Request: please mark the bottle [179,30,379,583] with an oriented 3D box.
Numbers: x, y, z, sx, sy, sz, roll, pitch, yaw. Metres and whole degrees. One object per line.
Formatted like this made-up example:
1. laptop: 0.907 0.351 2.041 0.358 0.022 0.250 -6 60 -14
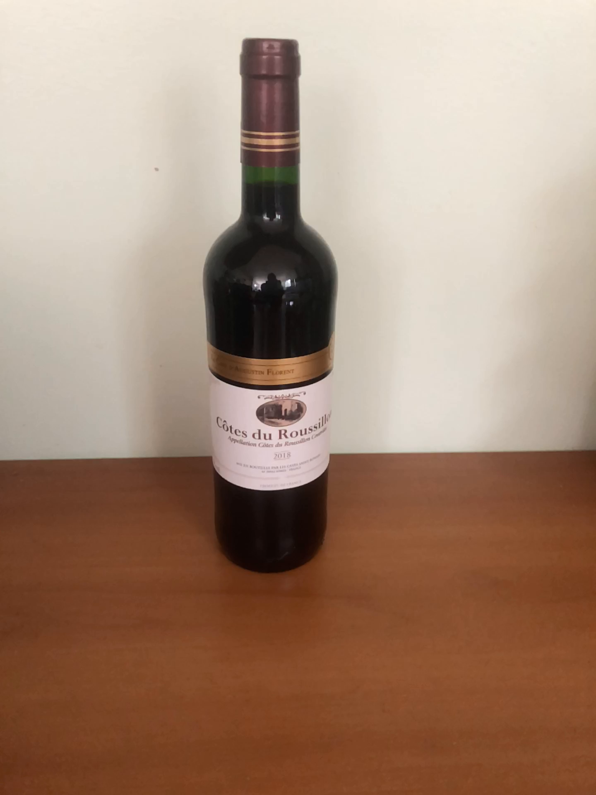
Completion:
1. bottle: -0.014 -0.037 0.364 0.080 0.288 0.080 1 28 -1
